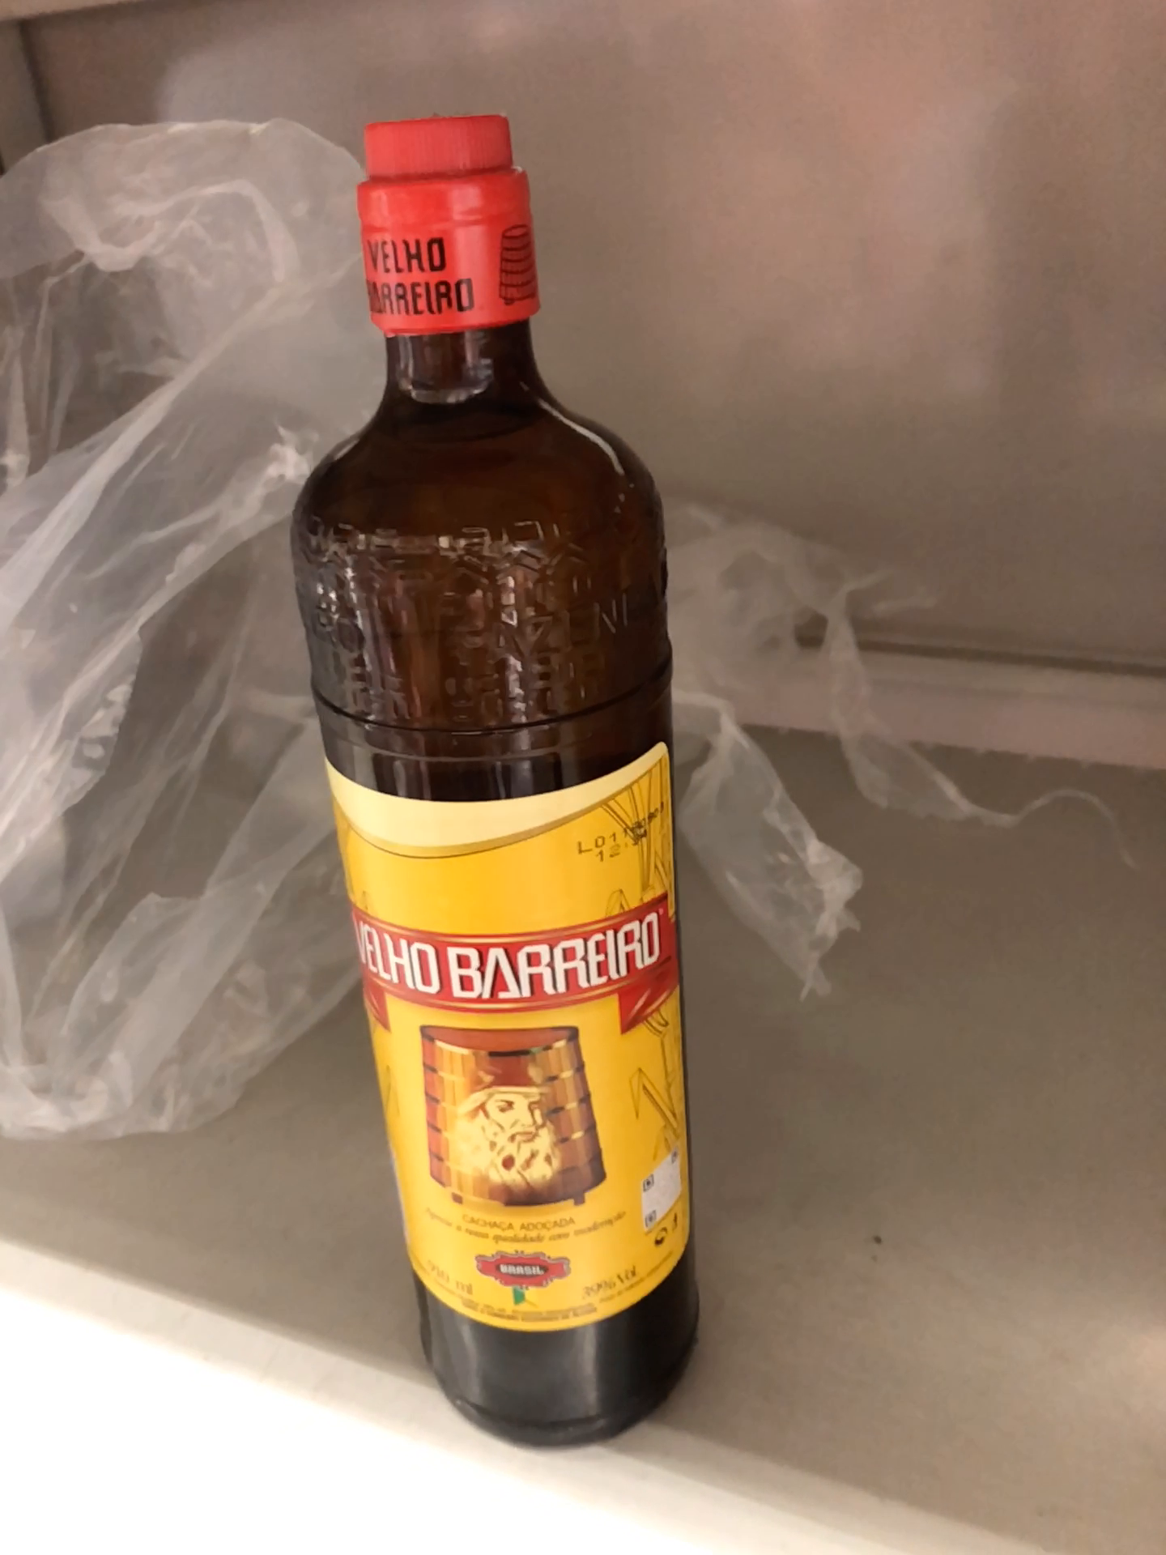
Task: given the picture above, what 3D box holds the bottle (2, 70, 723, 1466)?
[{"bbox_3d":[-0.022,0.017,0.288,0.090,0.298,0.081,-2,28,8],"label":"bottle"}]
